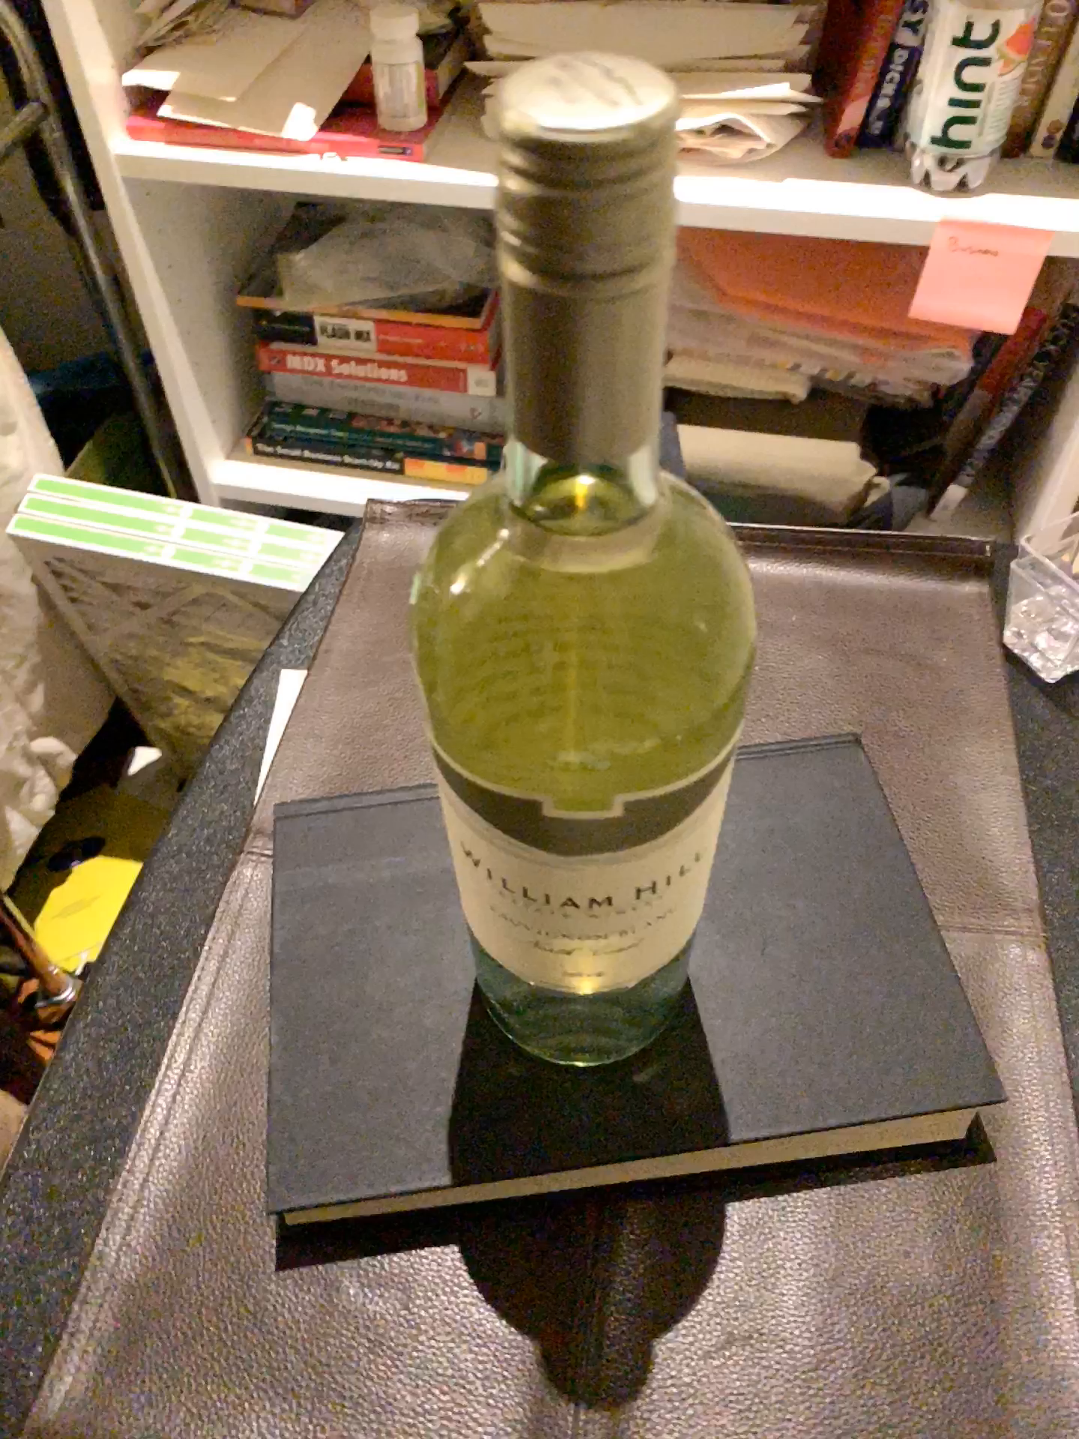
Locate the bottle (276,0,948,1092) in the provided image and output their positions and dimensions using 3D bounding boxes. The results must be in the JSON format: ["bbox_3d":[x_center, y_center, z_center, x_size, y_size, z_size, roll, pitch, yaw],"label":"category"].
[{"bbox_3d":[0.016,-0.008,0.292,0.090,0.298,0.090,-1,50,1],"label":"bottle"}]
